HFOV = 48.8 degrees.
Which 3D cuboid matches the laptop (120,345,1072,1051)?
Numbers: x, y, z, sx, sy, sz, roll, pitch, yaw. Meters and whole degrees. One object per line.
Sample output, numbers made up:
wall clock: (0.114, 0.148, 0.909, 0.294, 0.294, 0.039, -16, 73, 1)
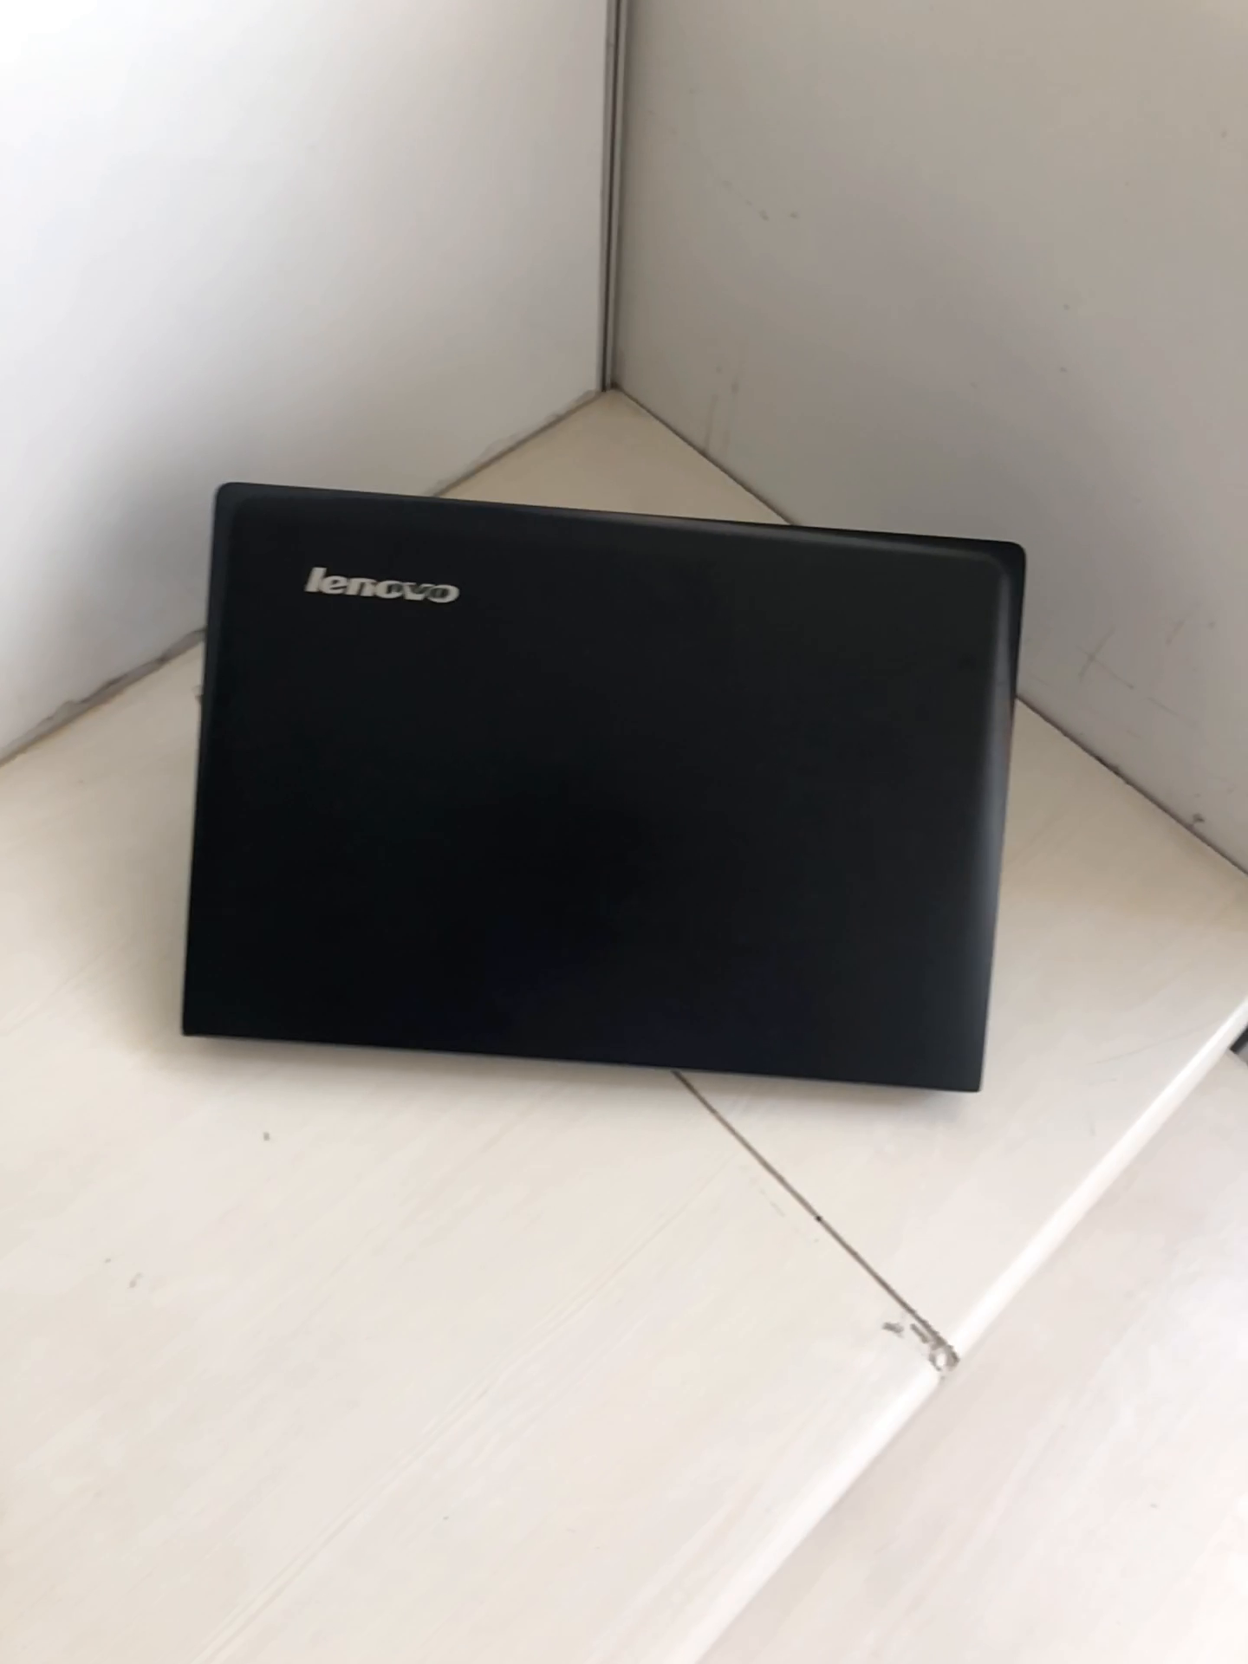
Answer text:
laptop: (-0.004, -0.061, 0.664, 0.374, 0.162, 0.253, 4, 62, -1)
